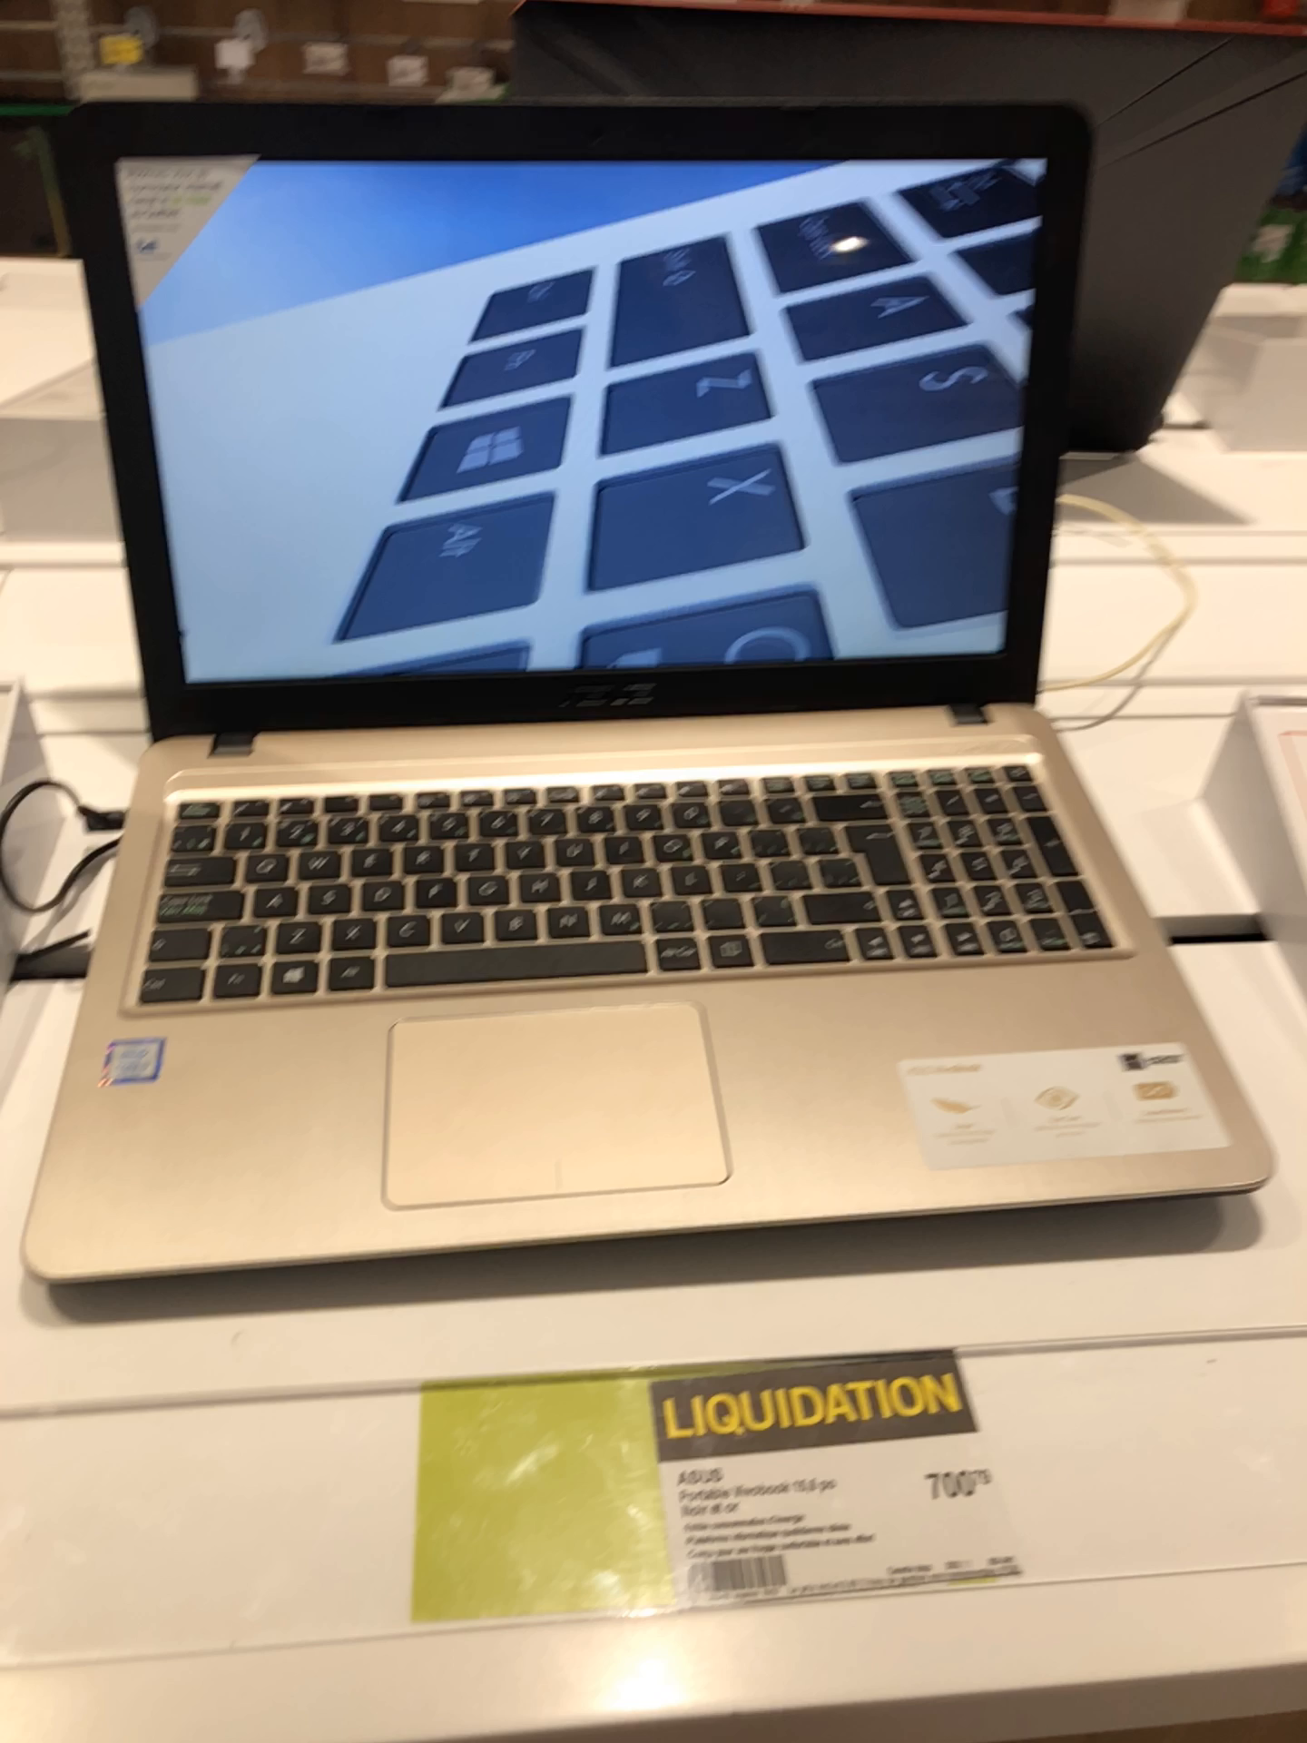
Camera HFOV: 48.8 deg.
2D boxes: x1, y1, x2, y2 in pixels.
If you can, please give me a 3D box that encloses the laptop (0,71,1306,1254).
[{"bbox_3d":[-0.007,-0.095,0.488,0.370,0.204,0.339,-2,45,-7],"label":"laptop"}]
